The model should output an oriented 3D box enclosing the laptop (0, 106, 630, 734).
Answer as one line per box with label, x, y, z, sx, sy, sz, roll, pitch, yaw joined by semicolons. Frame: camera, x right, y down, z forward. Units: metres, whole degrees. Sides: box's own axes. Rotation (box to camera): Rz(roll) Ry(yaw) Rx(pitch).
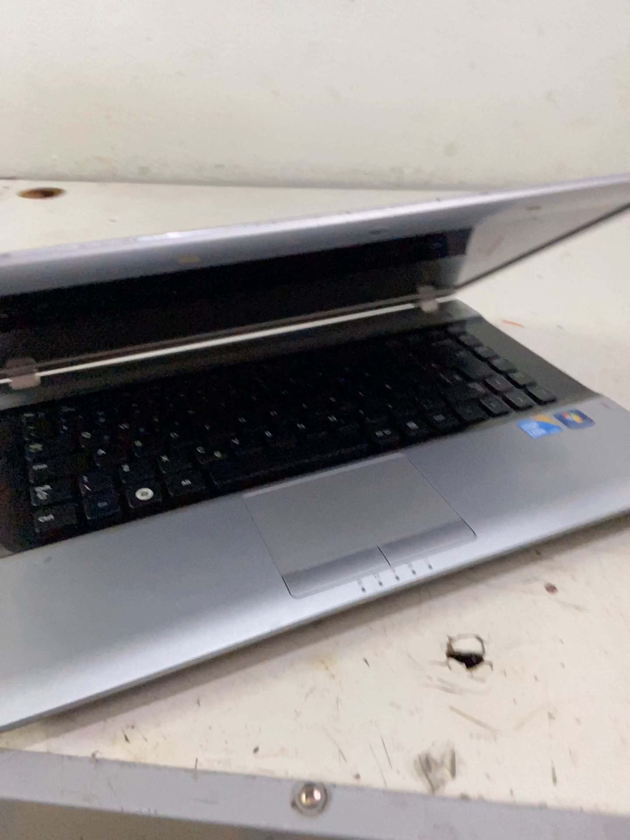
laptop;0.000;-0.054;0.317;0.337;0.133;0.233;-13;36;-21
